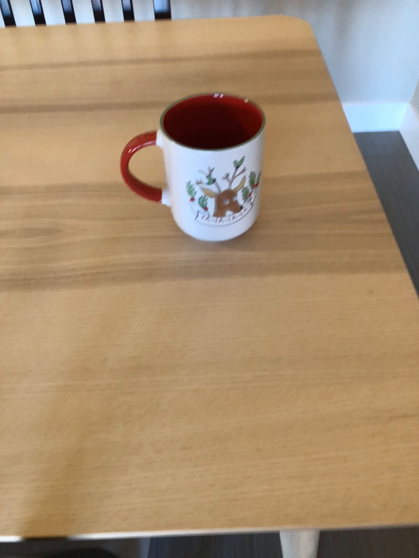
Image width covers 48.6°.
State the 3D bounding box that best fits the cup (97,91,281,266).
[{"bbox_3d":[-0.021,-0.091,0.420,0.140,0.100,0.100,-8,49,-4],"label":"cup"}]
